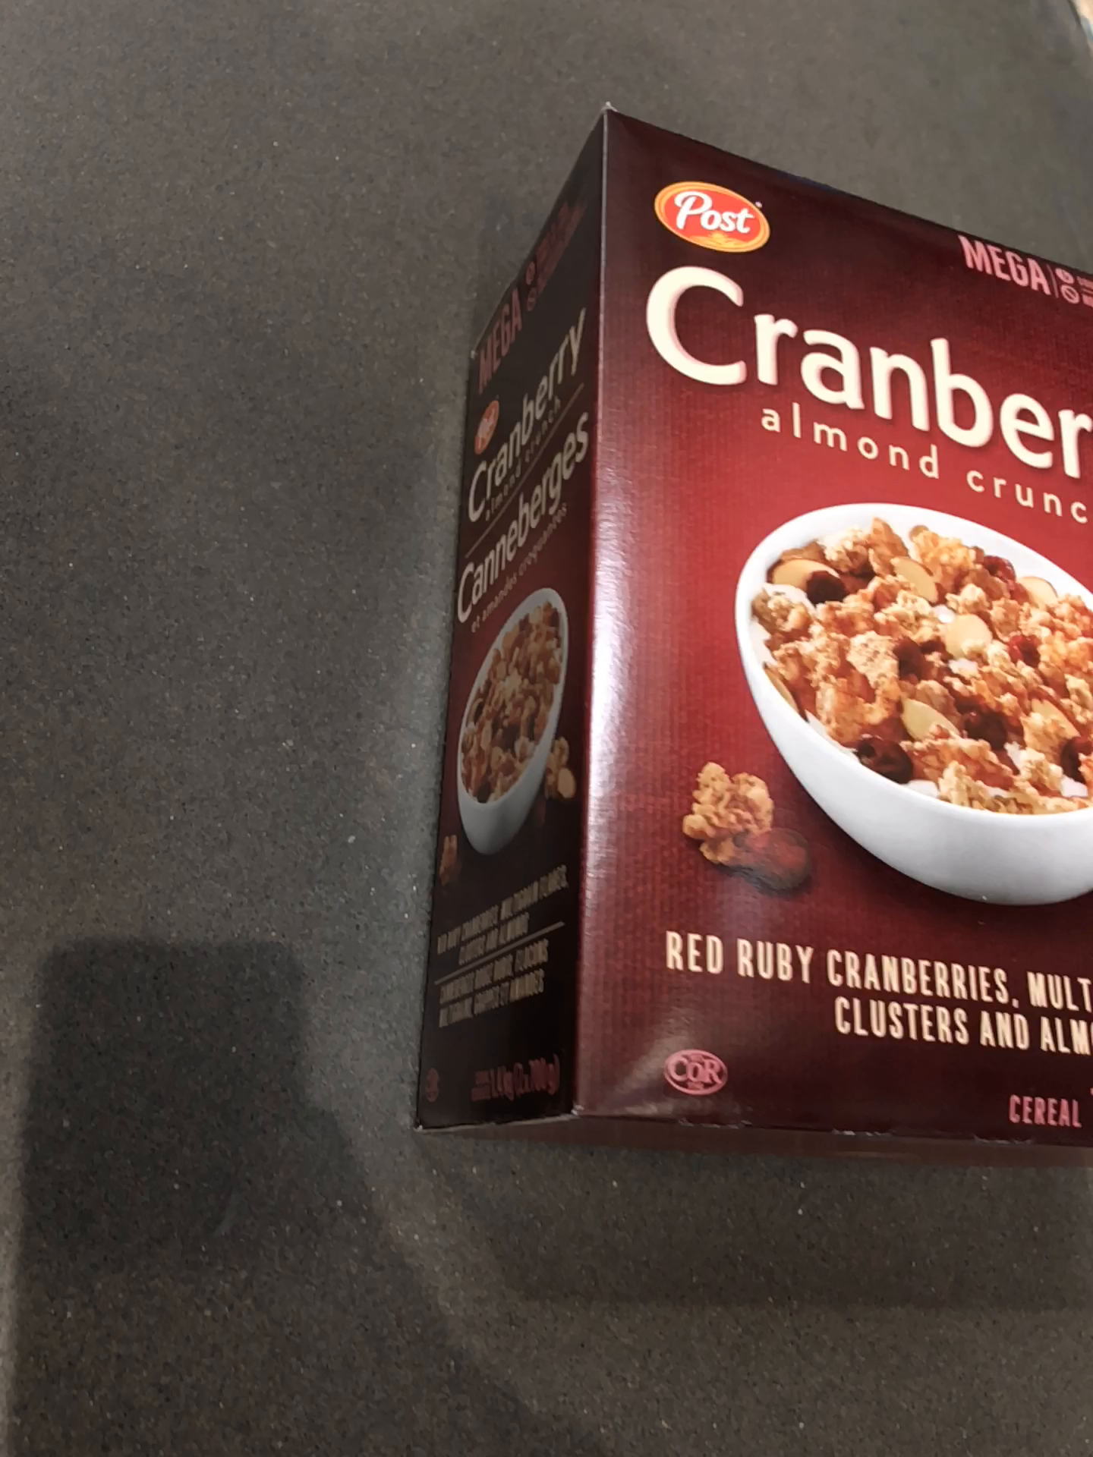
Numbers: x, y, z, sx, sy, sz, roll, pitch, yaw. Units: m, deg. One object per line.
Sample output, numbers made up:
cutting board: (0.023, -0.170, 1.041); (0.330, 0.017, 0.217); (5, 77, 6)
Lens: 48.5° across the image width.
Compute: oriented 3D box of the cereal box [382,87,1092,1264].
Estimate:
cereal box: (0.107, -0.002, 0.405); (0.261, 0.130, 0.310); (12, 67, -18)
